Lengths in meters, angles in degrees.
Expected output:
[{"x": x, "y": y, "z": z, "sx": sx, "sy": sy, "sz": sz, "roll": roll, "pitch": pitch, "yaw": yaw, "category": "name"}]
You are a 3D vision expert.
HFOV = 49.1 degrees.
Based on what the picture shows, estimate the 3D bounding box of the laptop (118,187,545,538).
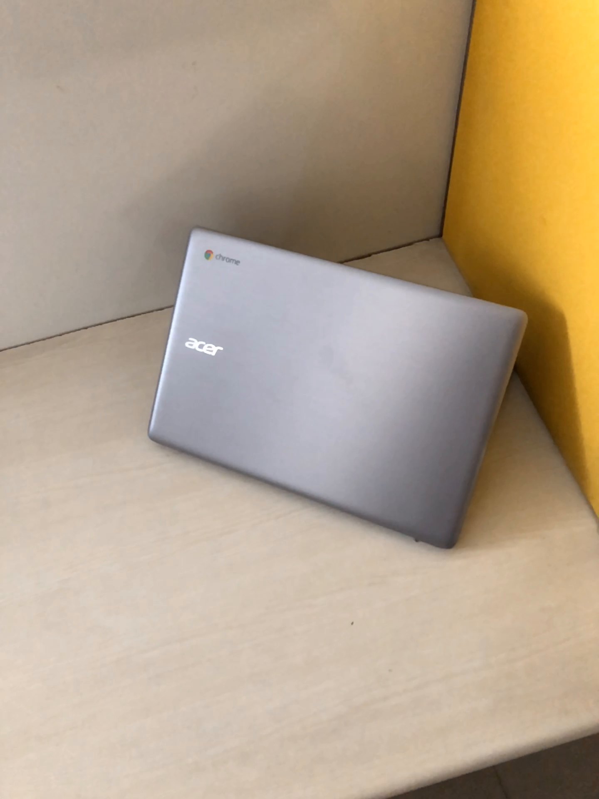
[{"x": 0.036, "y": -0.044, "z": 0.636, "sx": 0.315, "sy": 0.135, "sz": 0.222, "roll": 18, "pitch": 64, "yaw": 15, "category": "laptop"}]
